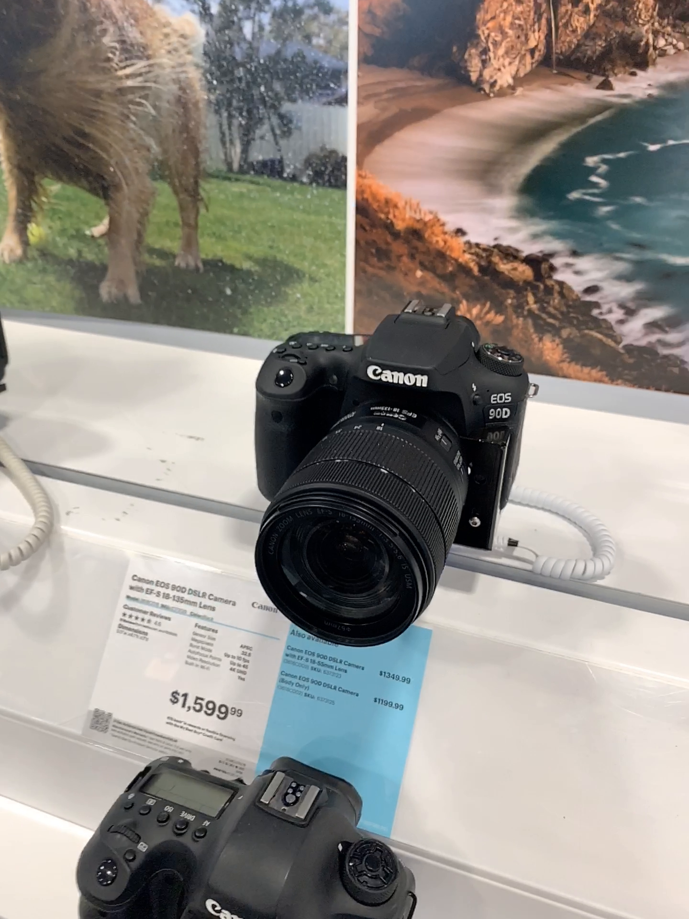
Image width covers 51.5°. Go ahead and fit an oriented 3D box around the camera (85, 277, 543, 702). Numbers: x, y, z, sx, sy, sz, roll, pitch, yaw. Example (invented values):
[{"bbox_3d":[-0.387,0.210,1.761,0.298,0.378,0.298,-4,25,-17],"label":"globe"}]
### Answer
[{"bbox_3d":[0.002,-0.006,0.337,0.148,0.104,0.171,10,31,17],"label":"camera"}]
